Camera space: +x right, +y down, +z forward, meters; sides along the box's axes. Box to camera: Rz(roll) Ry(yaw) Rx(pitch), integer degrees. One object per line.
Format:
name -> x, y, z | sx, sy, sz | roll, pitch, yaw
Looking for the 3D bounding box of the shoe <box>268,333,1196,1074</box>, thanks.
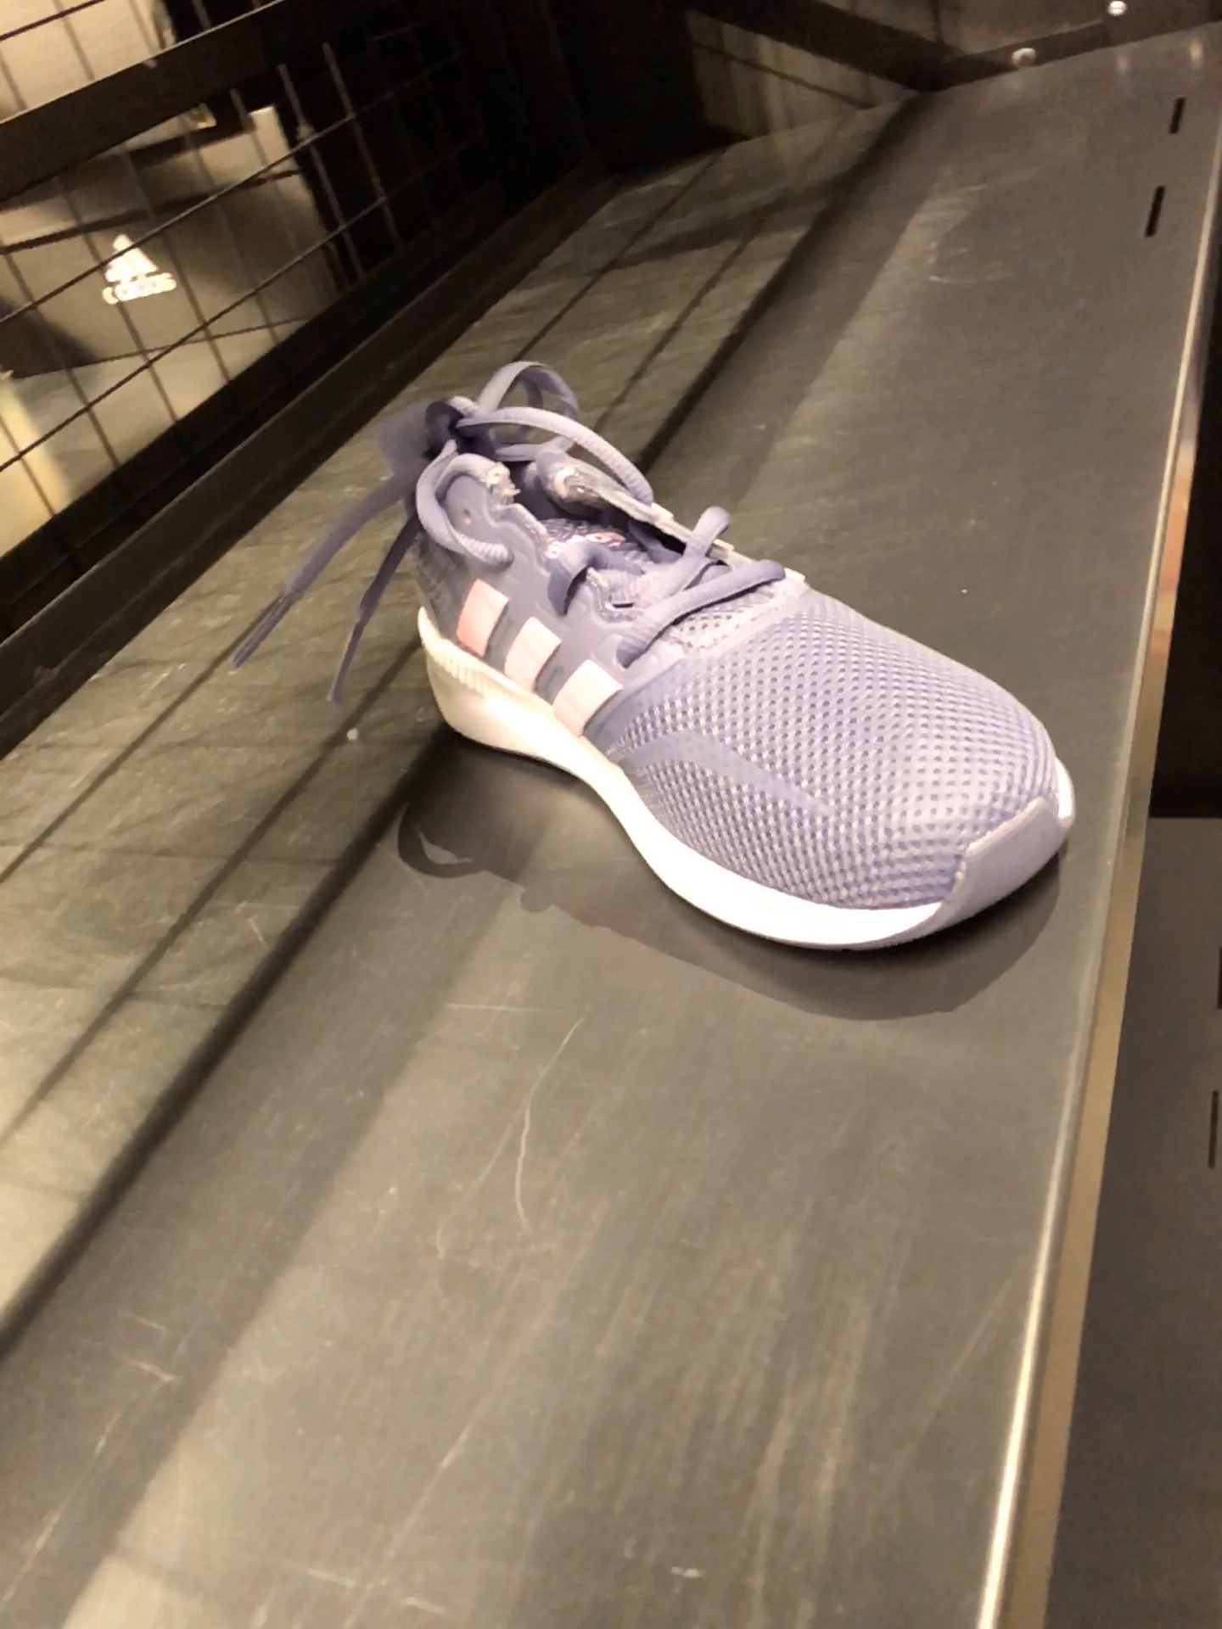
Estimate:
shoe -> 0.015, -0.047, 0.331 | 0.090, 0.090, 0.221 | -34, 37, -19
